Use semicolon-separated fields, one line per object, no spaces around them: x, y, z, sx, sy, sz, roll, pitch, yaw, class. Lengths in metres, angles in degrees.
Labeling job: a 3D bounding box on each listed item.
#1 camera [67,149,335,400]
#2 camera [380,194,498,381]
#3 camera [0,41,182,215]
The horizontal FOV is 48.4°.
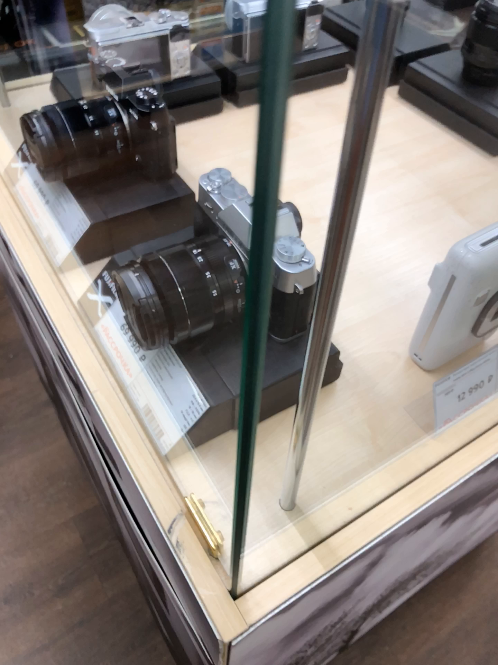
-0.036;-0.046;0.386;0.130;0.080;0.124;-21;54;-21;camera
0.156;-0.031;0.405;0.094;0.110;0.039;-25;56;-24;camera
-0.149;-0.192;0.509;0.130;0.080;0.124;-21;54;-21;camera
